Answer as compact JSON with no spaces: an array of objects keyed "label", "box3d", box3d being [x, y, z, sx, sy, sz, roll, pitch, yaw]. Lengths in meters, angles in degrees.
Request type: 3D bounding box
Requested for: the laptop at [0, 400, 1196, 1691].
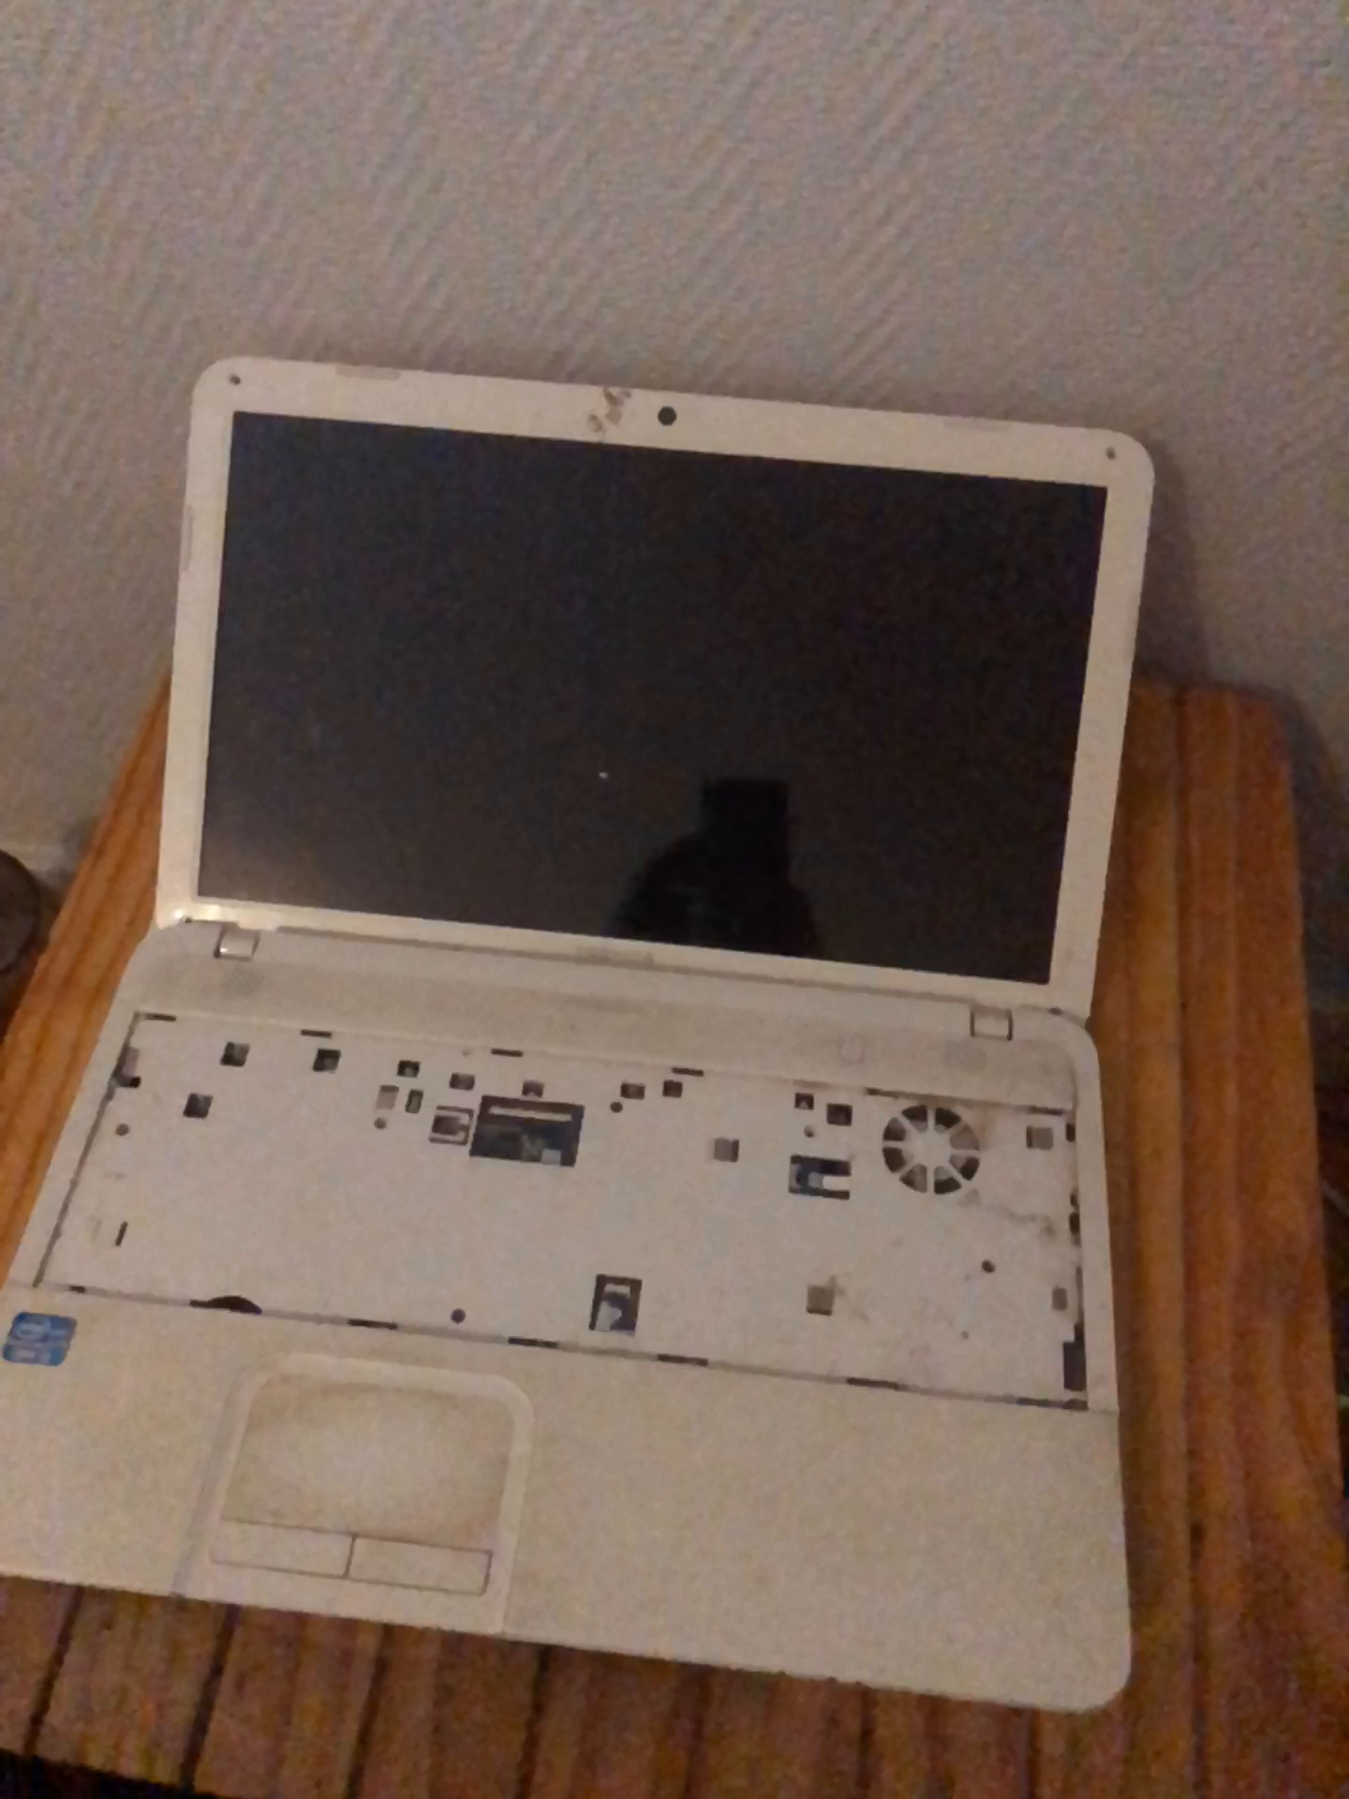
[{"label":"laptop","box3d":[-0.043,0.015,0.523,0.371,0.118,0.419,5,55,3]}]
